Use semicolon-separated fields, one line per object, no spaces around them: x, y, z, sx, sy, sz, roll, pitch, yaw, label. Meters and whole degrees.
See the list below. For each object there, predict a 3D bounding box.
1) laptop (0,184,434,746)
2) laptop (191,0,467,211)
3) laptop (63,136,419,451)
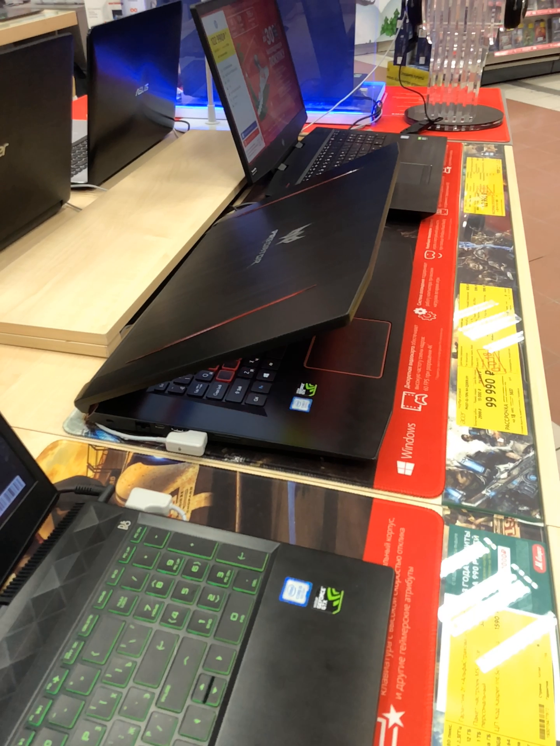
-0.130;0.110;0.242;0.342;0.230;0.352;9;35;12;laptop
0.109;-0.488;1.044;0.355;0.250;0.379;10;37;11;laptop
0.002;-0.126;0.664;0.261;0.124;0.421;8;37;10;laptop
